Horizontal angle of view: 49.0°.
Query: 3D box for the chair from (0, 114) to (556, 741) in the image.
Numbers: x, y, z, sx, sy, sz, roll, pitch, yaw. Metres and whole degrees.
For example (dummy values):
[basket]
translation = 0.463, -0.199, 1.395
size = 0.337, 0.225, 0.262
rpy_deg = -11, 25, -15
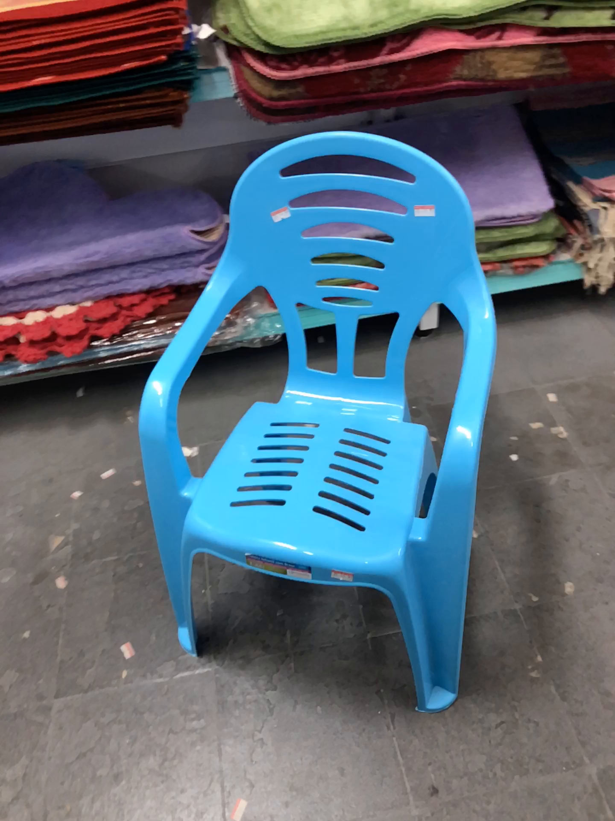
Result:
[chair]
translation = 0.016, 0.014, 0.750
size = 0.400, 0.516, 0.392
rpy_deg = 8, 45, 15
